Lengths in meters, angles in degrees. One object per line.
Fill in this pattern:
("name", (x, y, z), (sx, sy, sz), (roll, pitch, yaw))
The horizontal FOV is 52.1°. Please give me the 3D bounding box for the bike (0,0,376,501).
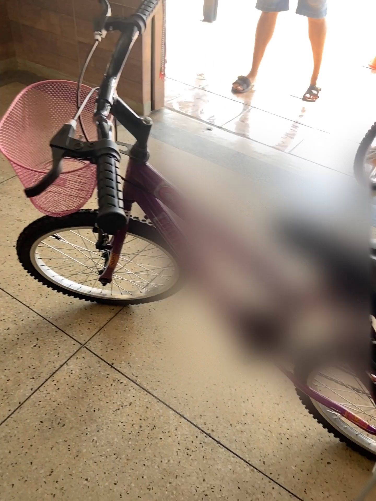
("bike", (0.109, 0.122, 0.789), (1.262, 0.933, 0.618), (21, 45, 17))
